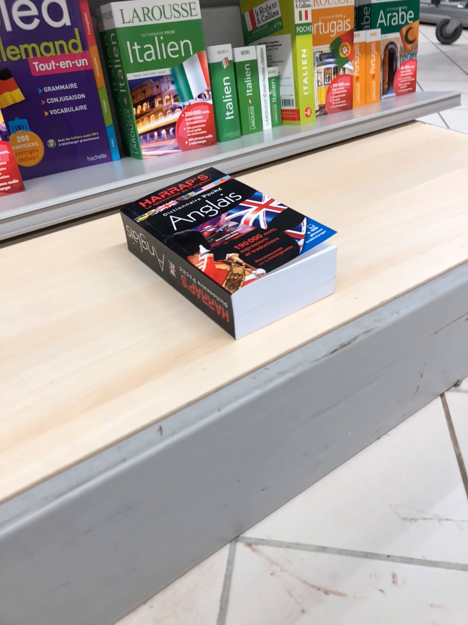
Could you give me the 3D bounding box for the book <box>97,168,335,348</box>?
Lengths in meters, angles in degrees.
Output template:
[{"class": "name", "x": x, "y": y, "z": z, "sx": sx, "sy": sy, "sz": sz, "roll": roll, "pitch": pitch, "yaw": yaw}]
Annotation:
[{"class": "book", "x": -0.022, "y": -0.060, "z": 0.447, "sx": 0.116, "sy": 0.057, "sz": 0.182, "roll": -24, "pitch": 42, "yaw": -29}]
